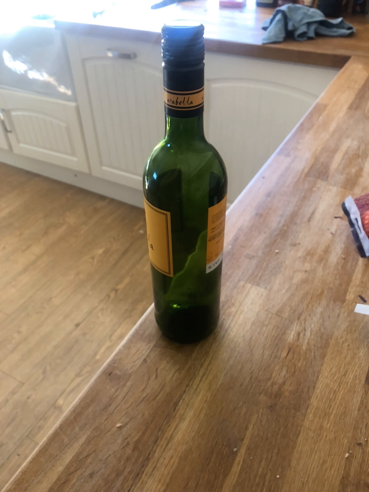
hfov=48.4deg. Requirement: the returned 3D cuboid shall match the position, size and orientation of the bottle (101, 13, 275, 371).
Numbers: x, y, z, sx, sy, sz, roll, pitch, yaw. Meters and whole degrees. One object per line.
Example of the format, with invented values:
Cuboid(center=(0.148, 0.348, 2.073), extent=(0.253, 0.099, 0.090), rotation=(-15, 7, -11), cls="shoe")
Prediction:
Cuboid(center=(0.010, -0.026, 0.361), extent=(0.090, 0.297, 0.091), rotation=(-1, 40, 1), cls="bottle")
